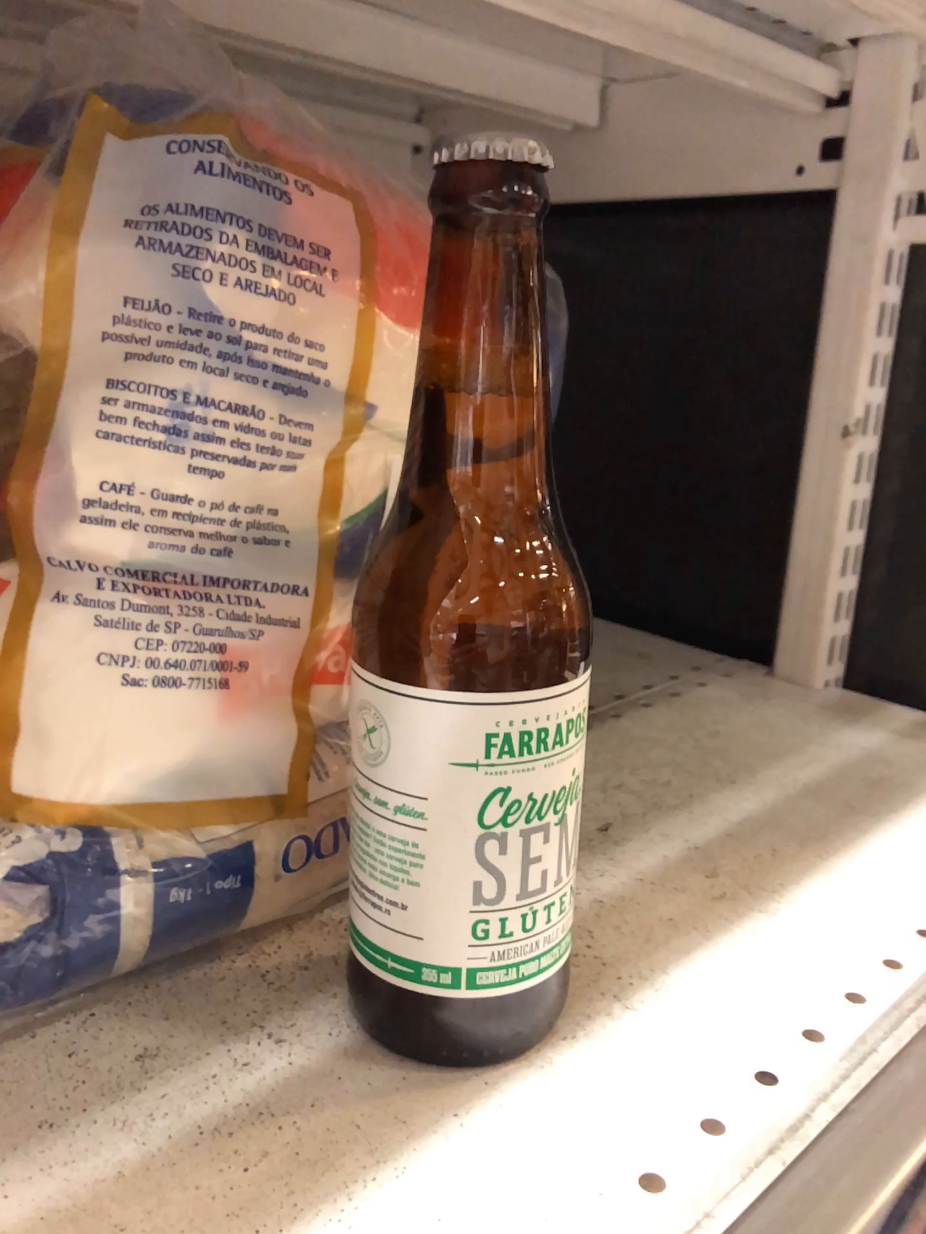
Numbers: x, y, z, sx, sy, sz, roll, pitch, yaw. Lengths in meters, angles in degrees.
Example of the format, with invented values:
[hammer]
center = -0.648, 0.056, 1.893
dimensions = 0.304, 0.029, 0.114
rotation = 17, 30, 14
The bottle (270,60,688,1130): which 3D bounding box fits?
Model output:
[bottle]
center = -0.001, -0.002, 0.259
dimensions = 0.070, 0.229, 0.060
rotation = -11, 21, -42
